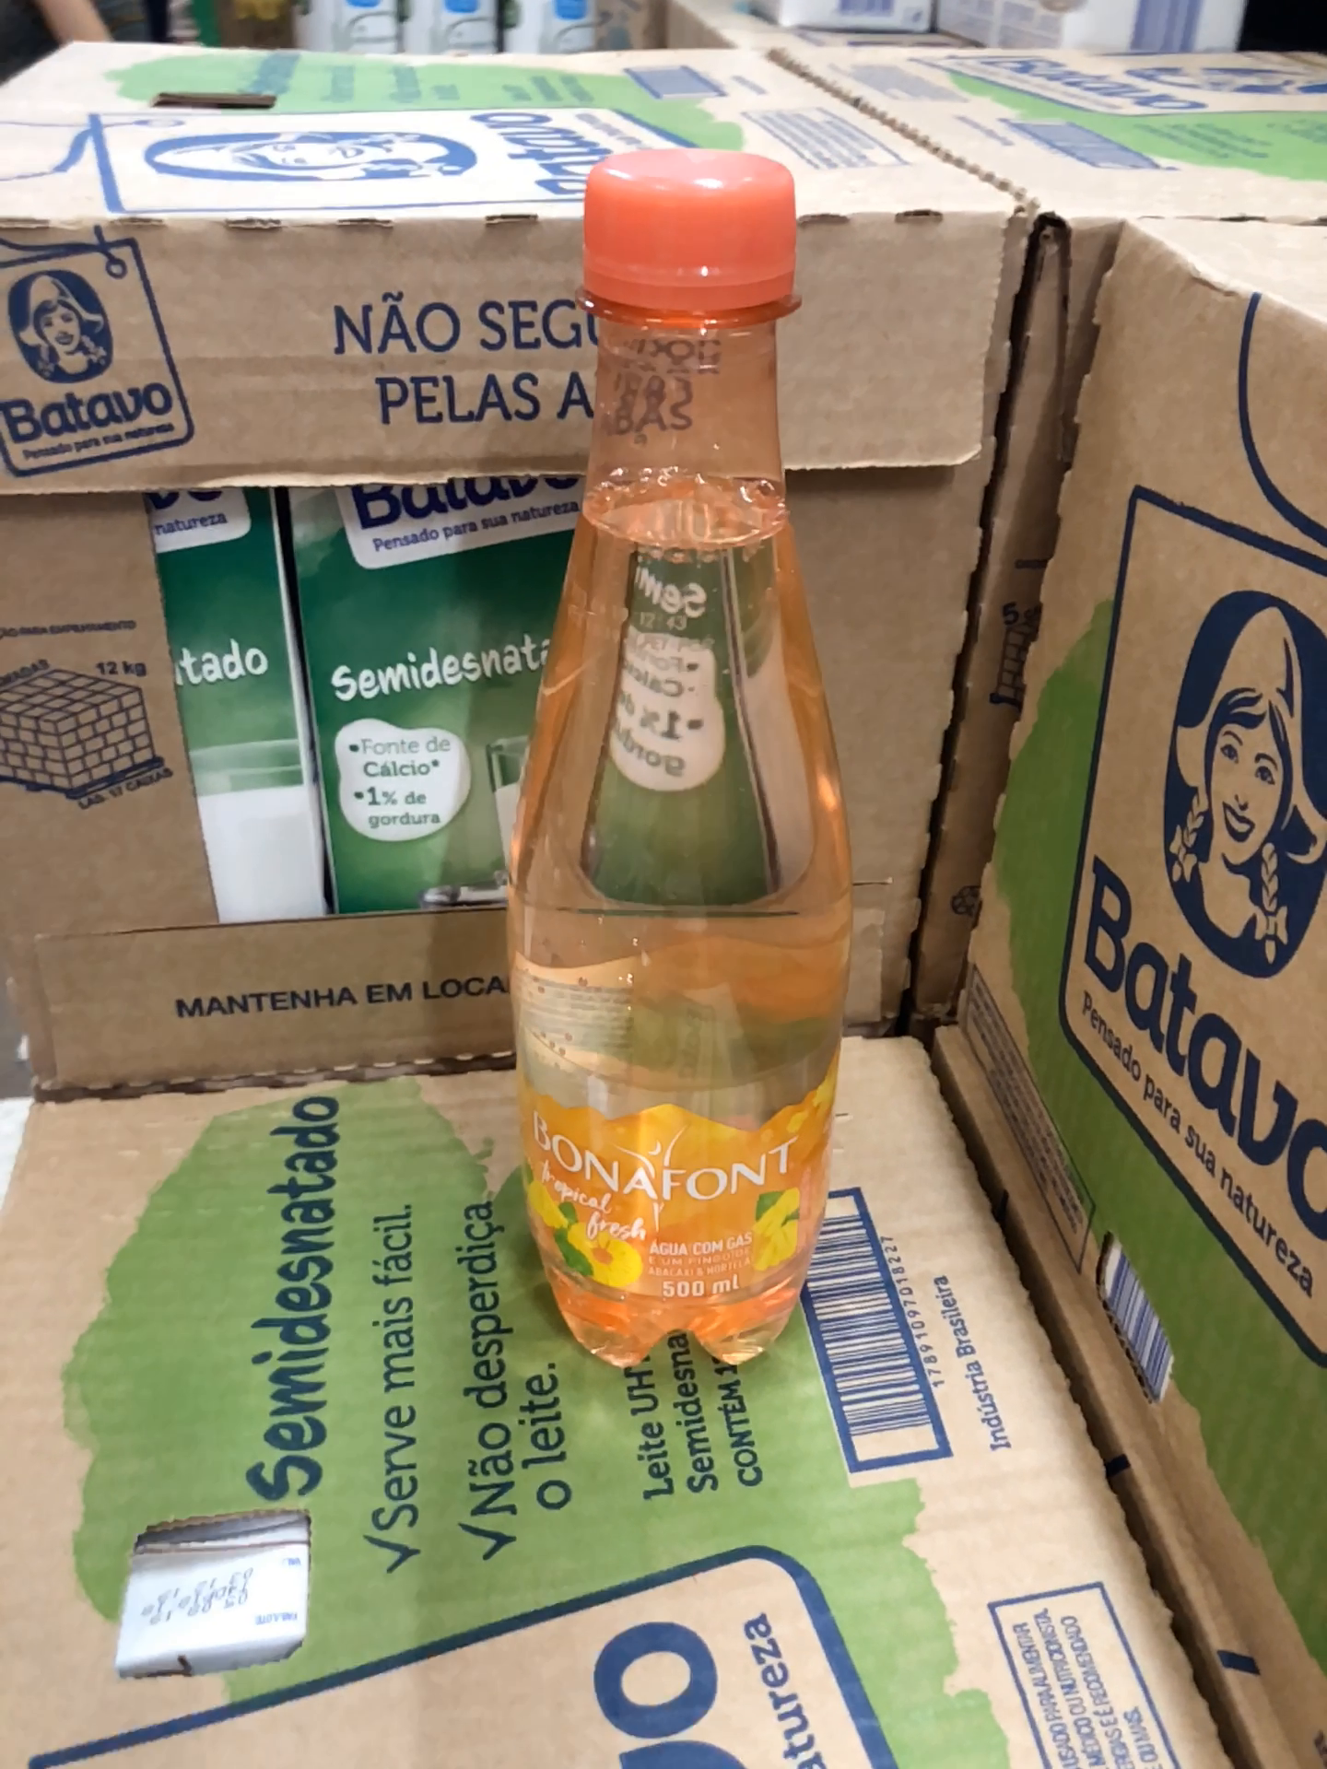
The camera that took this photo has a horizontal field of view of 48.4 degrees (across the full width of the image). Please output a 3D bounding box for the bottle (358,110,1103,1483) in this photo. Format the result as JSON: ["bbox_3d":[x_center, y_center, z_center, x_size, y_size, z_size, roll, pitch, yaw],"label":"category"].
[{"bbox_3d":[0.008,-0.004,0.267,0.080,0.228,0.070,17,38,21],"label":"bottle"}]
